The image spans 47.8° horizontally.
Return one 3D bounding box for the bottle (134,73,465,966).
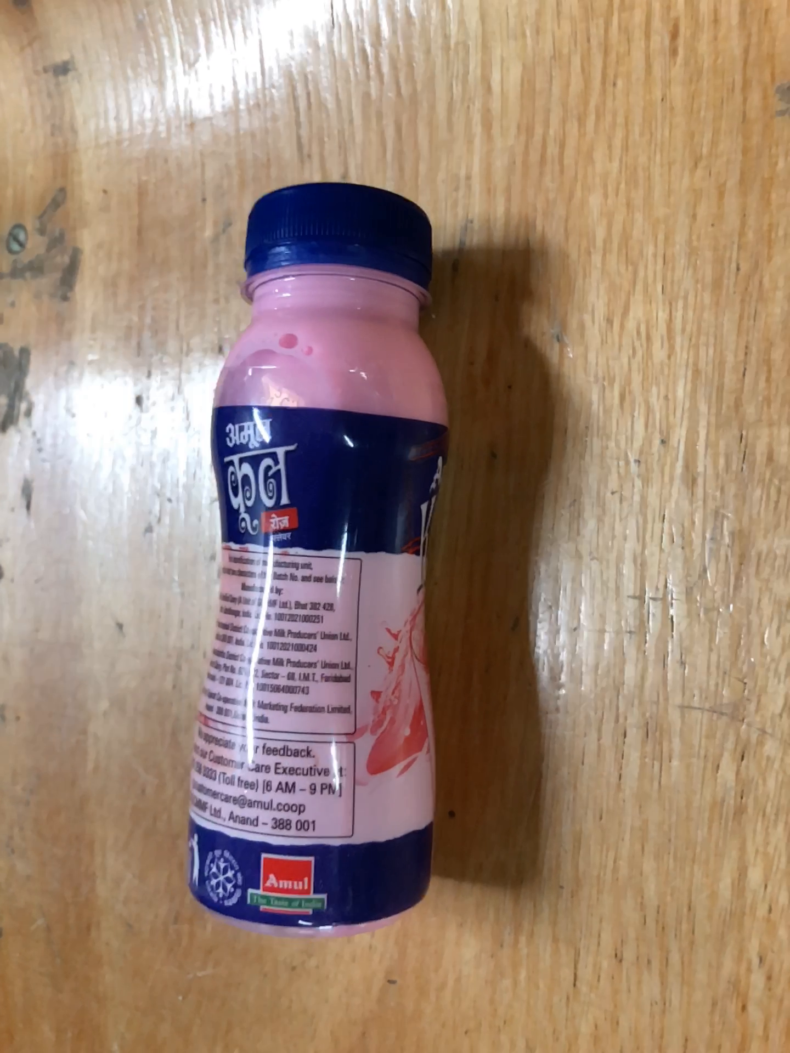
[{"bbox_3d":[-0.018,-0.001,0.179,0.050,0.040,0.150,0,89,29],"label":"bottle"}]
